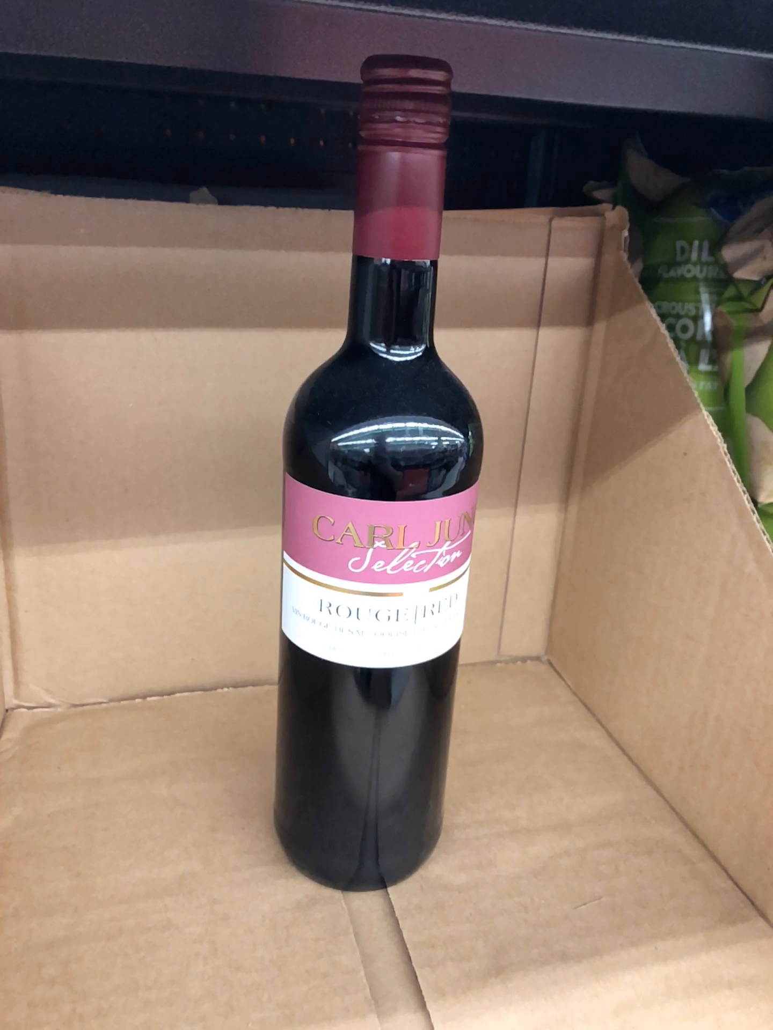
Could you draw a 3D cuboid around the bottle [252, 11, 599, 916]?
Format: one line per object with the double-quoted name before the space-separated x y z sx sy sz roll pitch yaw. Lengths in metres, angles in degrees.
"bottle" -0.003 -0.003 0.322 0.090 0.308 0.081 -1 23 -12
